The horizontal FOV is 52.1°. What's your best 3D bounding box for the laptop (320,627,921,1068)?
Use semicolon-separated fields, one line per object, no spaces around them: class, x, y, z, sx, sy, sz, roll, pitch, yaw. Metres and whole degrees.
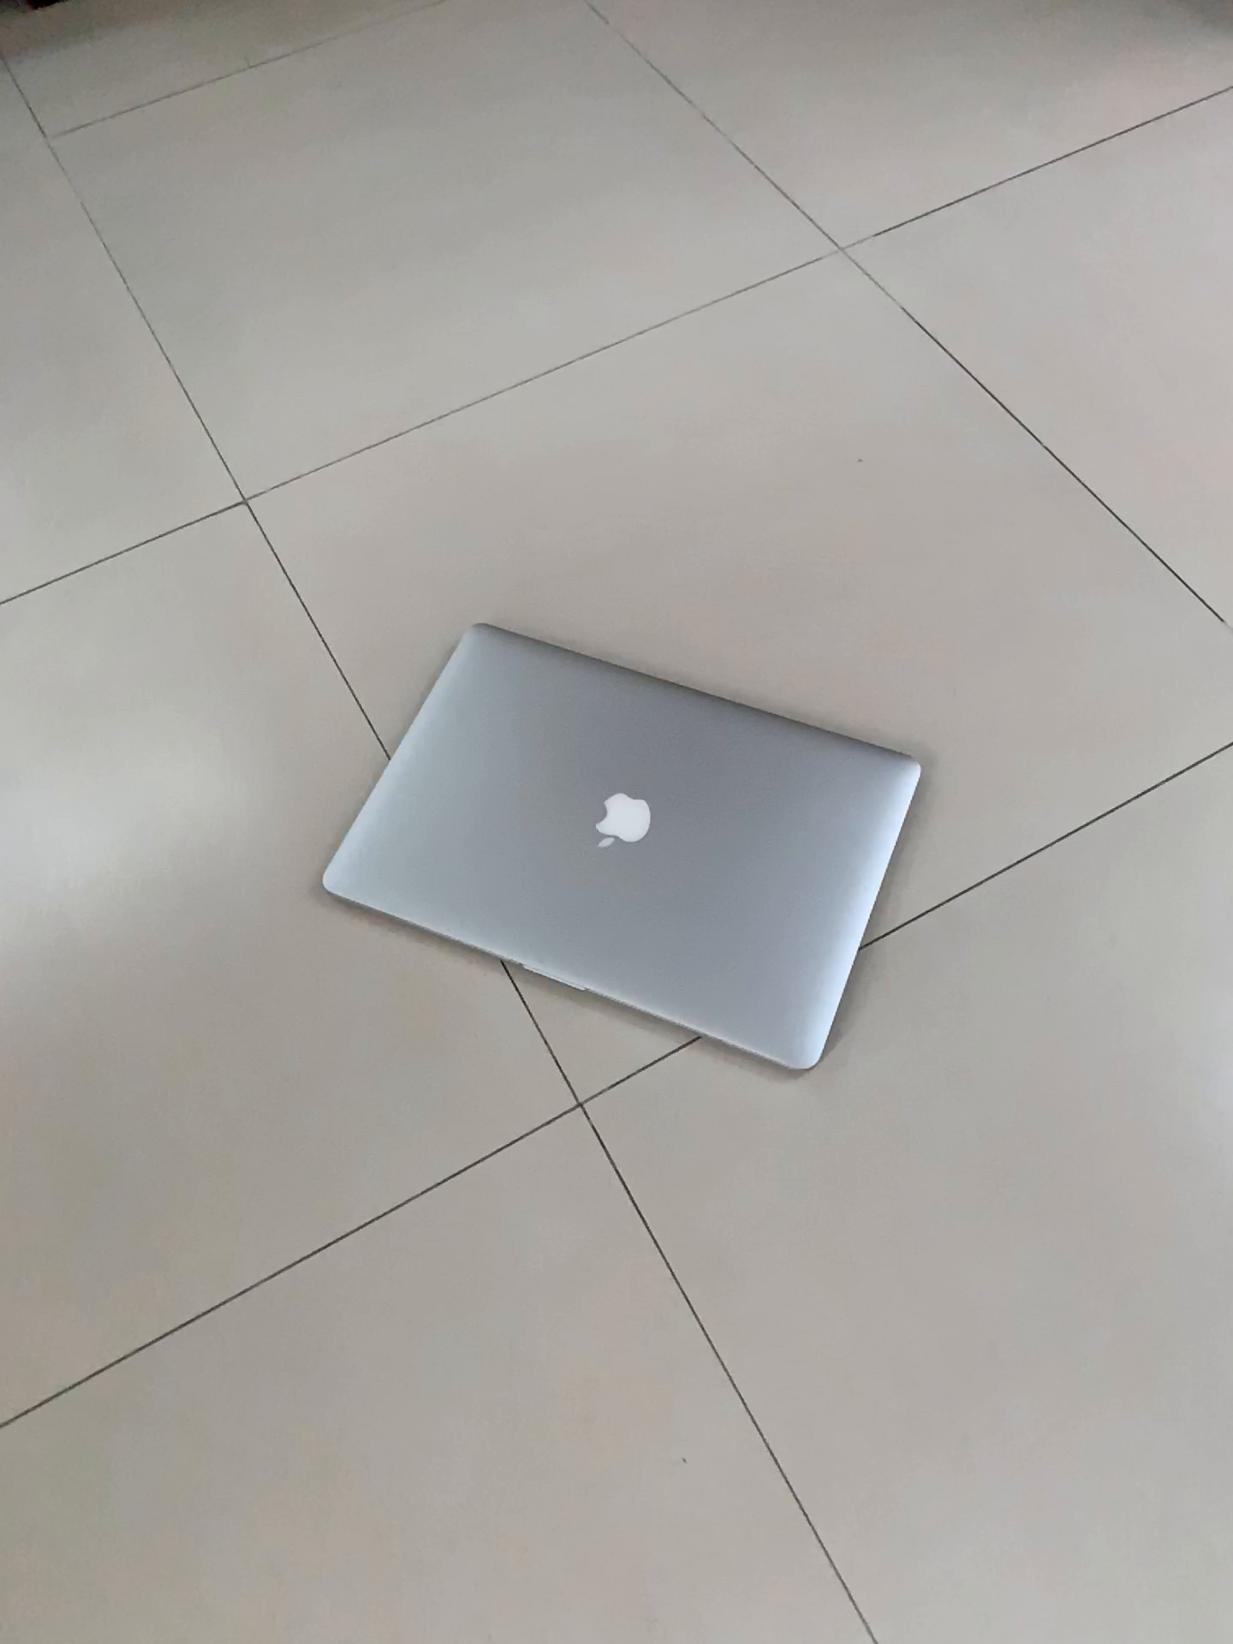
laptop;0.005;0.001;0.880;0.356;0.001;0.239;18;63;14
